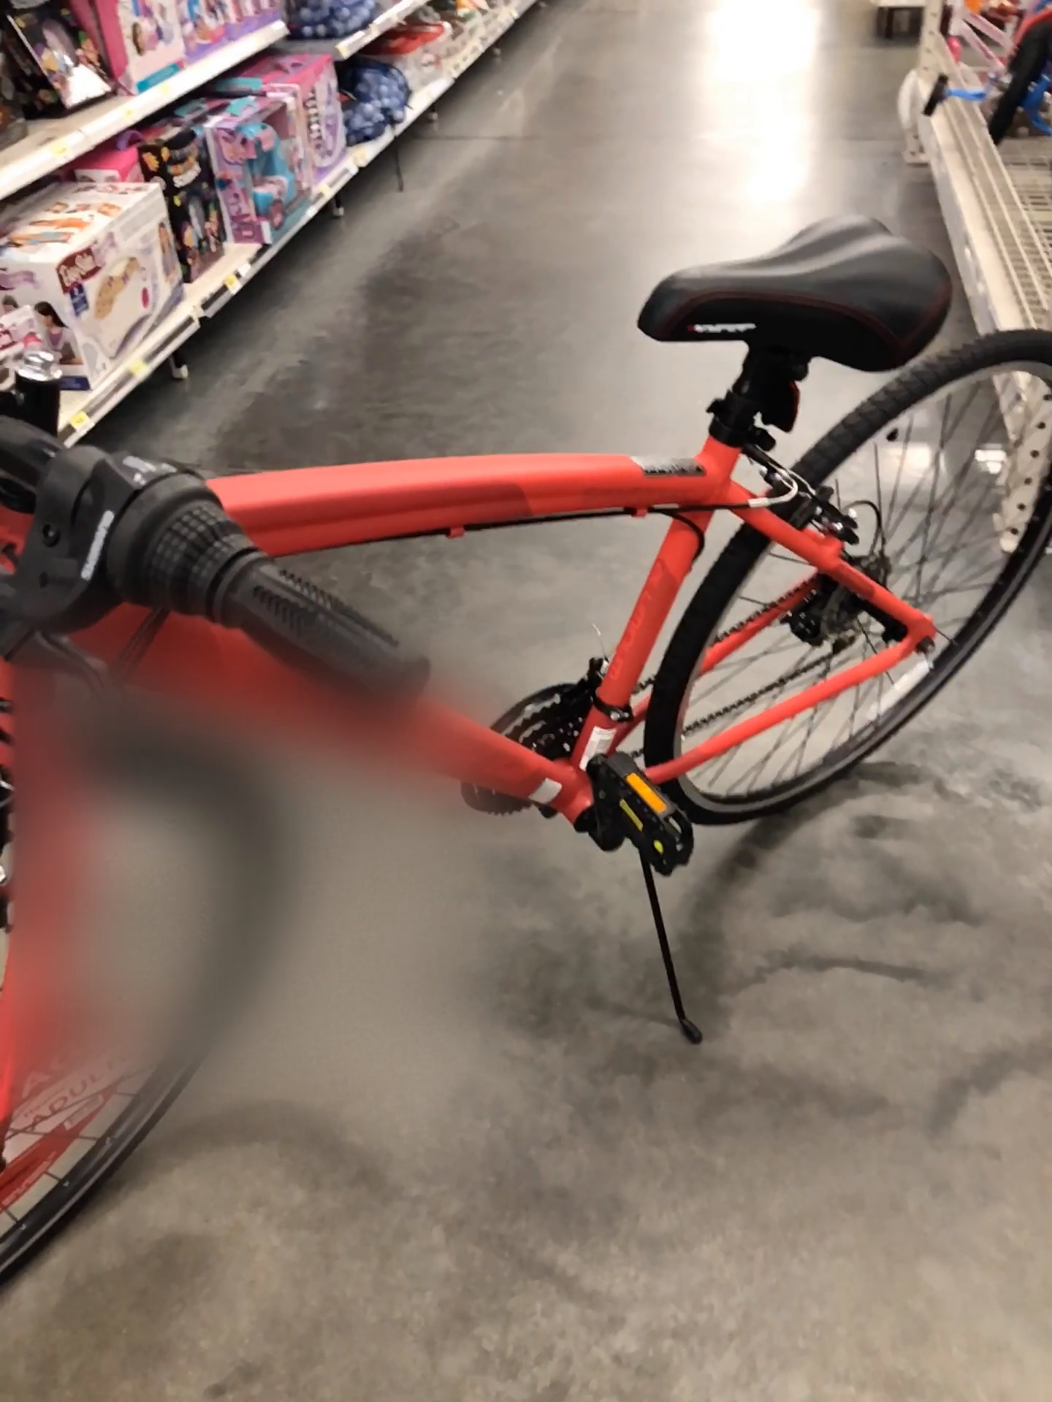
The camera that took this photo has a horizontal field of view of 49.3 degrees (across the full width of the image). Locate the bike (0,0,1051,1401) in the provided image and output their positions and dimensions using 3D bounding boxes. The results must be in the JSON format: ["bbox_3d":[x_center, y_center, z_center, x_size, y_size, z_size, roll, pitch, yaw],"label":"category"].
[{"bbox_3d":[0.010,0.012,0.981,1.690,1.000,0.616,-30,46,-26],"label":"bike"}]
